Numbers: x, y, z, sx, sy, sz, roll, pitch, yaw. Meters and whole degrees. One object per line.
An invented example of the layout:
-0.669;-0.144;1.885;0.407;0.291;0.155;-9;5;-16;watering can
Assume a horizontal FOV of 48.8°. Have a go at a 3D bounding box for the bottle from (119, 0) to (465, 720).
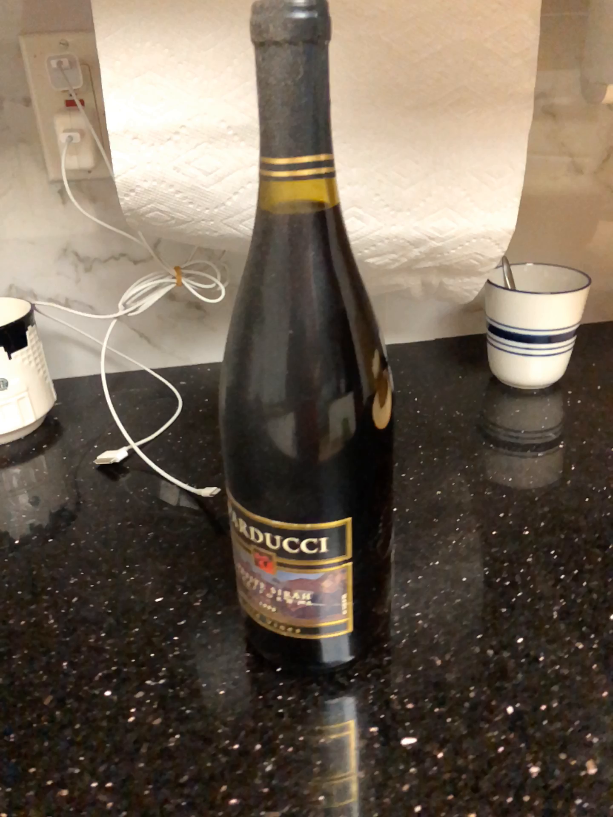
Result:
0.004;-0.013;0.311;0.090;0.298;0.090;-2;27;1;bottle
